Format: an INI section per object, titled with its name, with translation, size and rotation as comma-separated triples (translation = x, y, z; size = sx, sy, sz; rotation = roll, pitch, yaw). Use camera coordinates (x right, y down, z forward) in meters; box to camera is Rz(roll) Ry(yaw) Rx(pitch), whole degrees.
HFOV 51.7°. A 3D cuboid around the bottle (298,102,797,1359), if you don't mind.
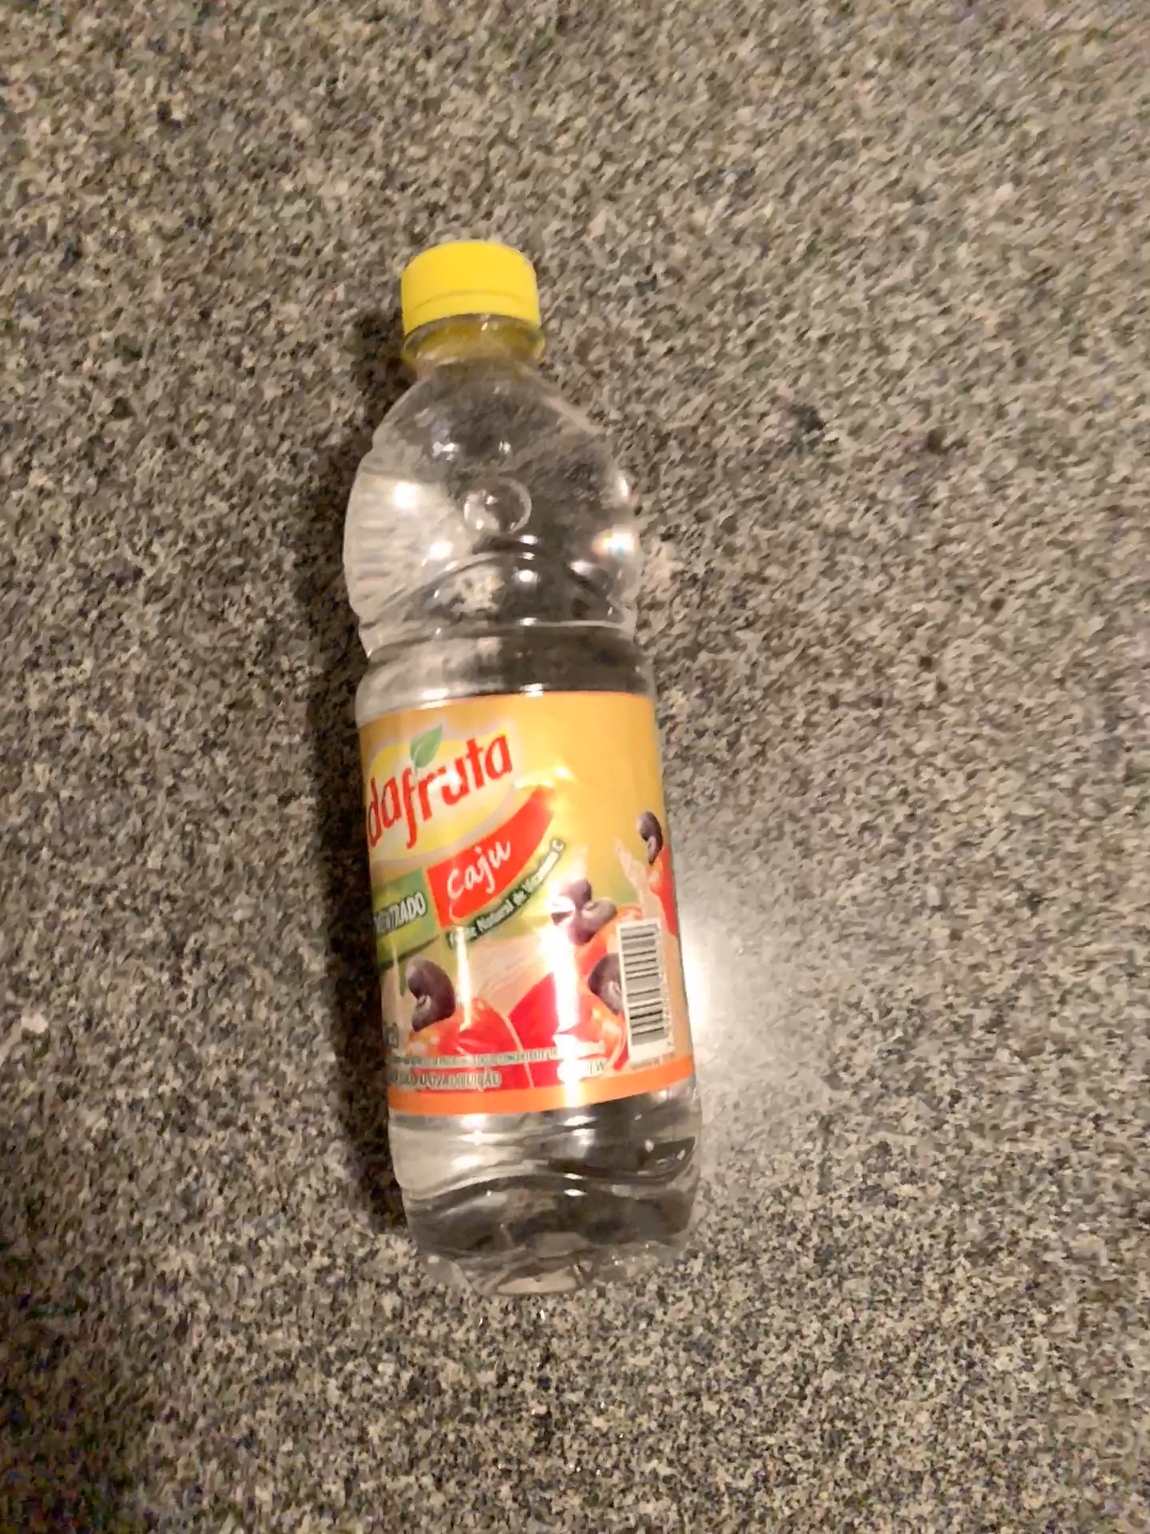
[bottle]
translation = -0.012, -0.012, 0.251
size = 0.070, 0.060, 0.230
rotation = -5, 83, -12
